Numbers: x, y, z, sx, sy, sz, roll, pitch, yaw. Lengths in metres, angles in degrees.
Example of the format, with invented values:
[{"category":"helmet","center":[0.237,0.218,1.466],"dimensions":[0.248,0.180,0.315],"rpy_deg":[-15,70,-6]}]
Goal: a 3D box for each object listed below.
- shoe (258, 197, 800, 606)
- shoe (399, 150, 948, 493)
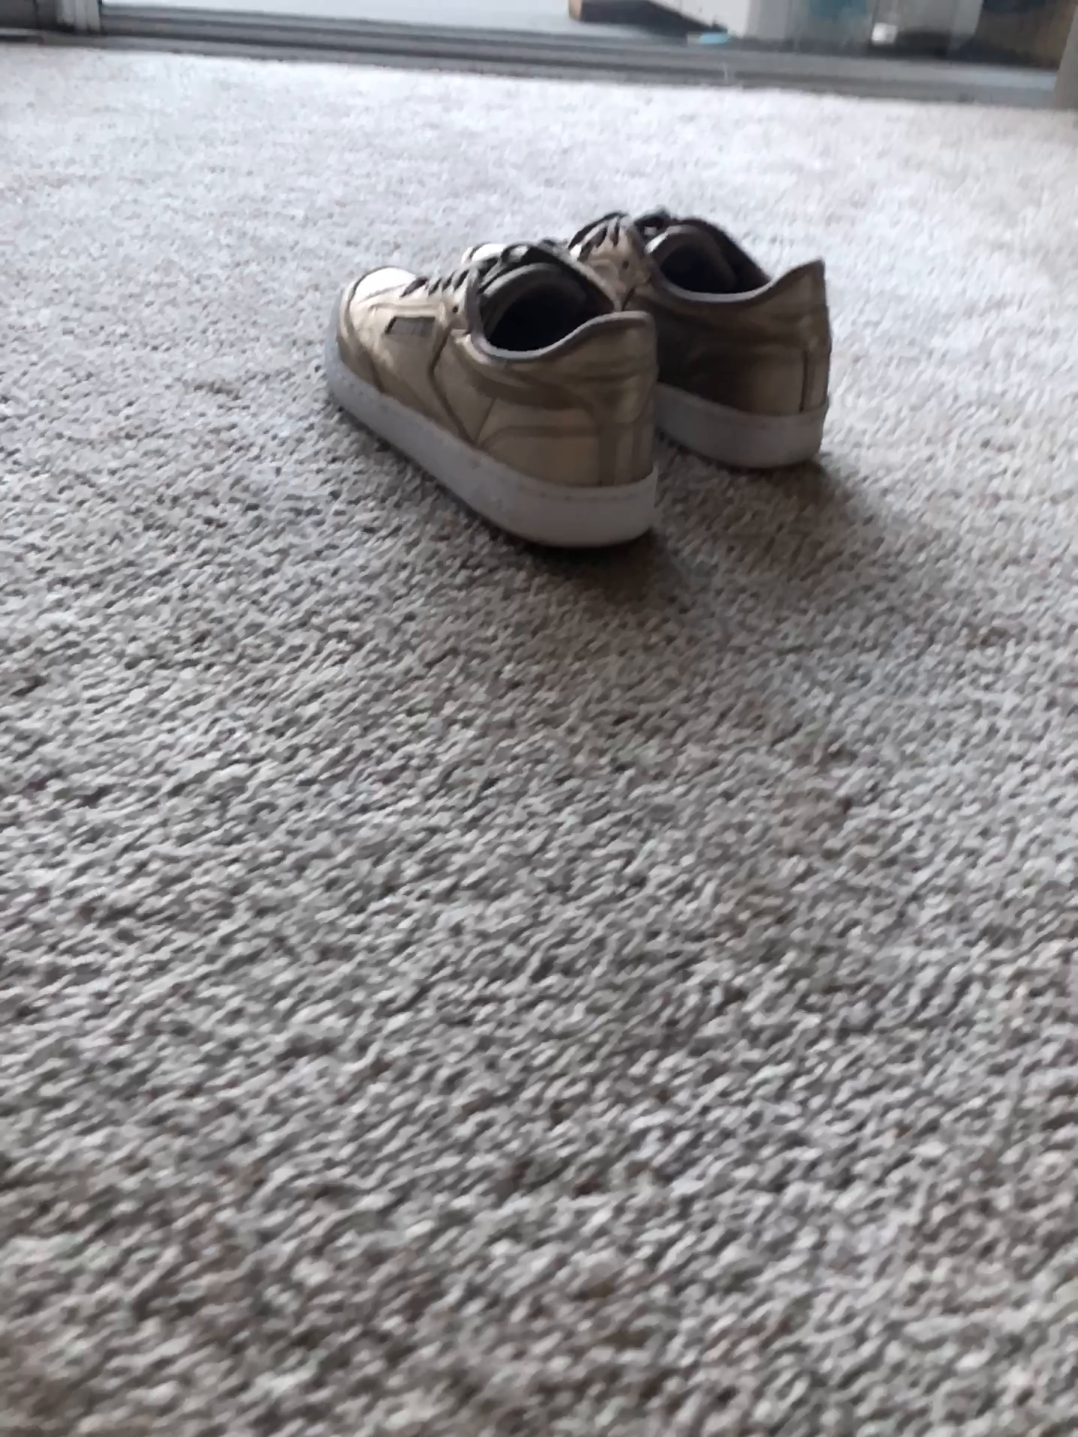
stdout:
[{"category":"shoe","center":[-0.023,-0.161,0.544],"dimensions":[0.110,0.070,0.281],"rpy_deg":[-16,42,-28]},{"category":"shoe","center":[0.051,-0.215,0.605],"dimensions":[0.110,0.070,0.281],"rpy_deg":[-20,45,-32]}]
